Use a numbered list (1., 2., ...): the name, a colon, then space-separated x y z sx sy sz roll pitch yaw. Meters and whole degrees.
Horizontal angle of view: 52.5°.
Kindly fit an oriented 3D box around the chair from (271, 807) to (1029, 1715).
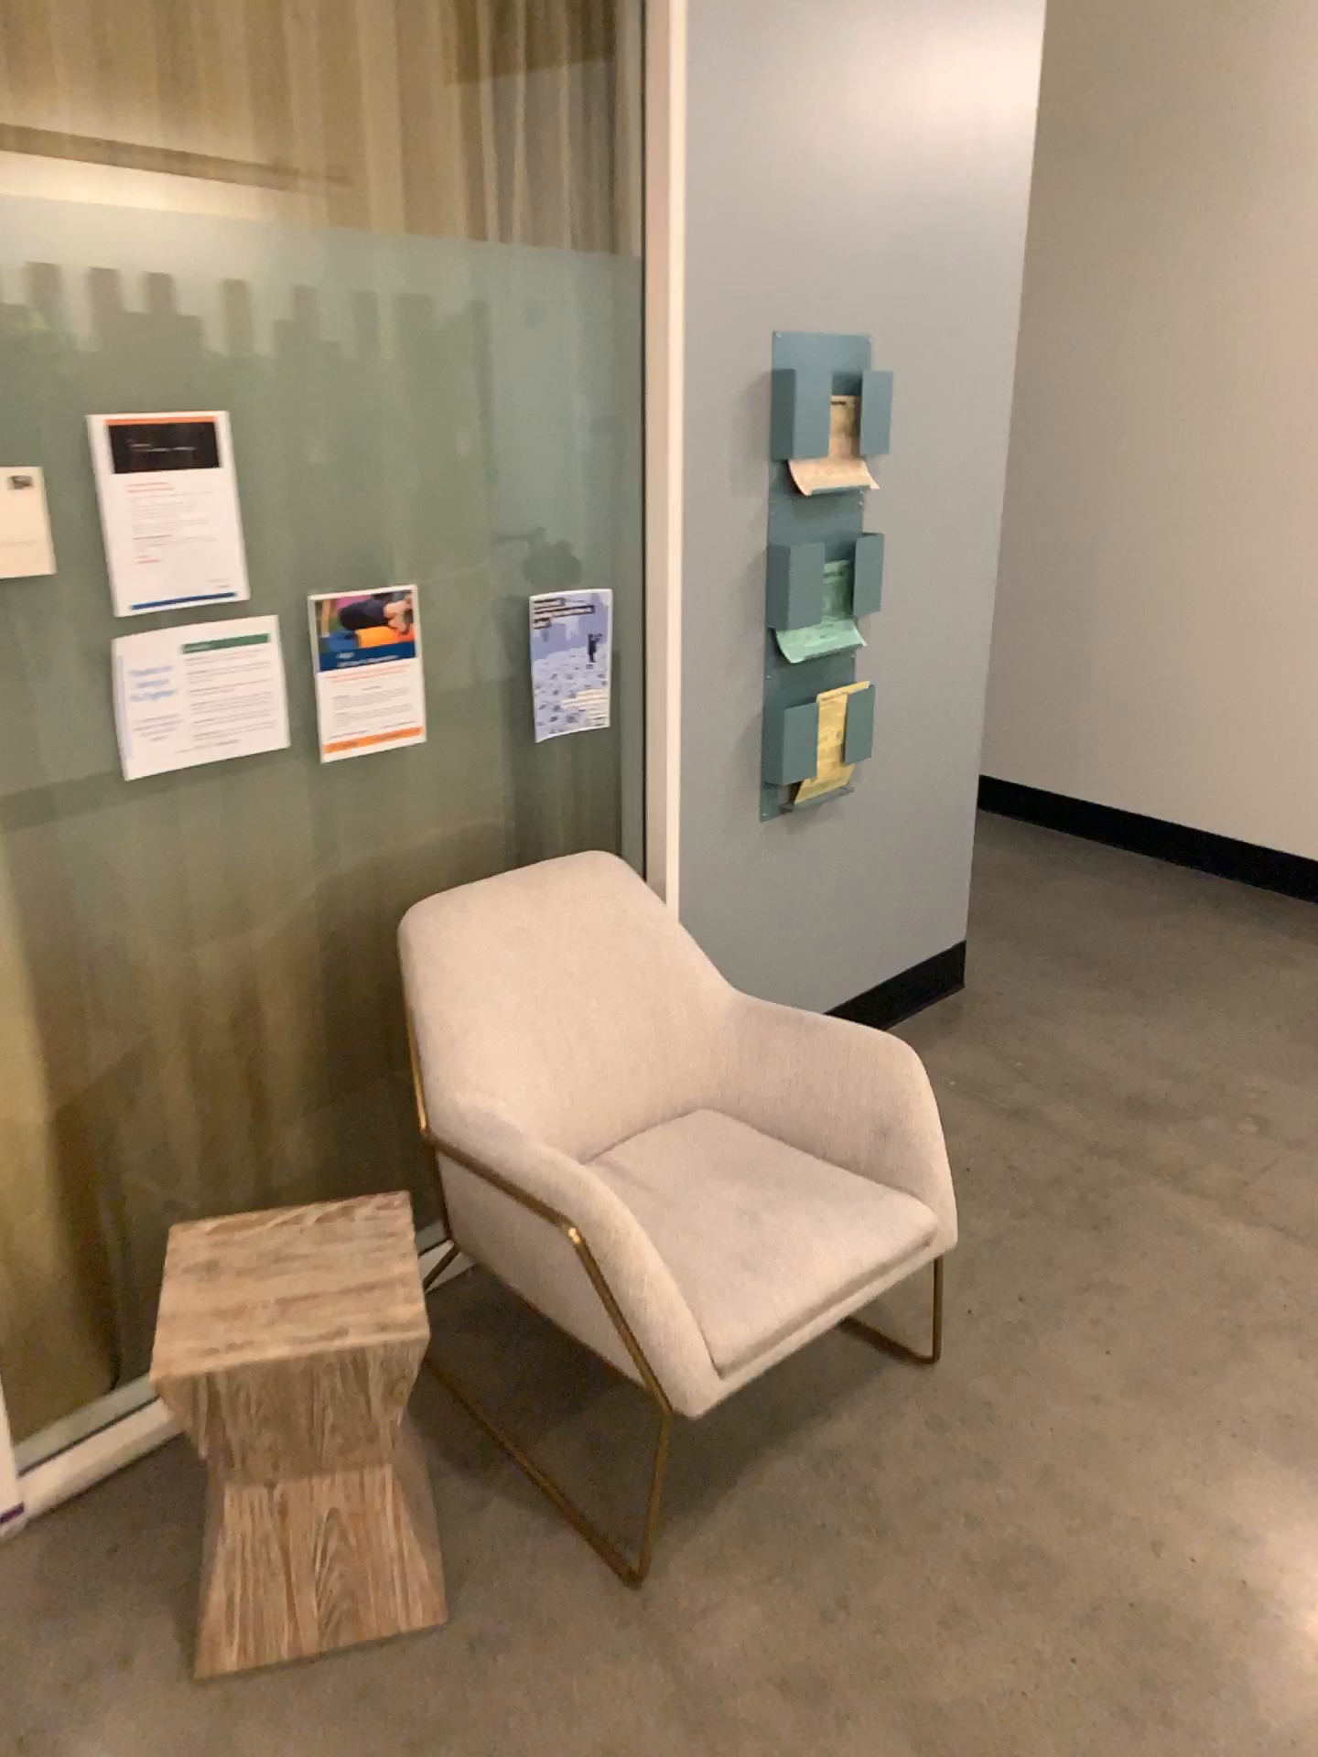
1. chair: -0.024 0.497 2.206 0.873 0.926 0.781 18 26 42
